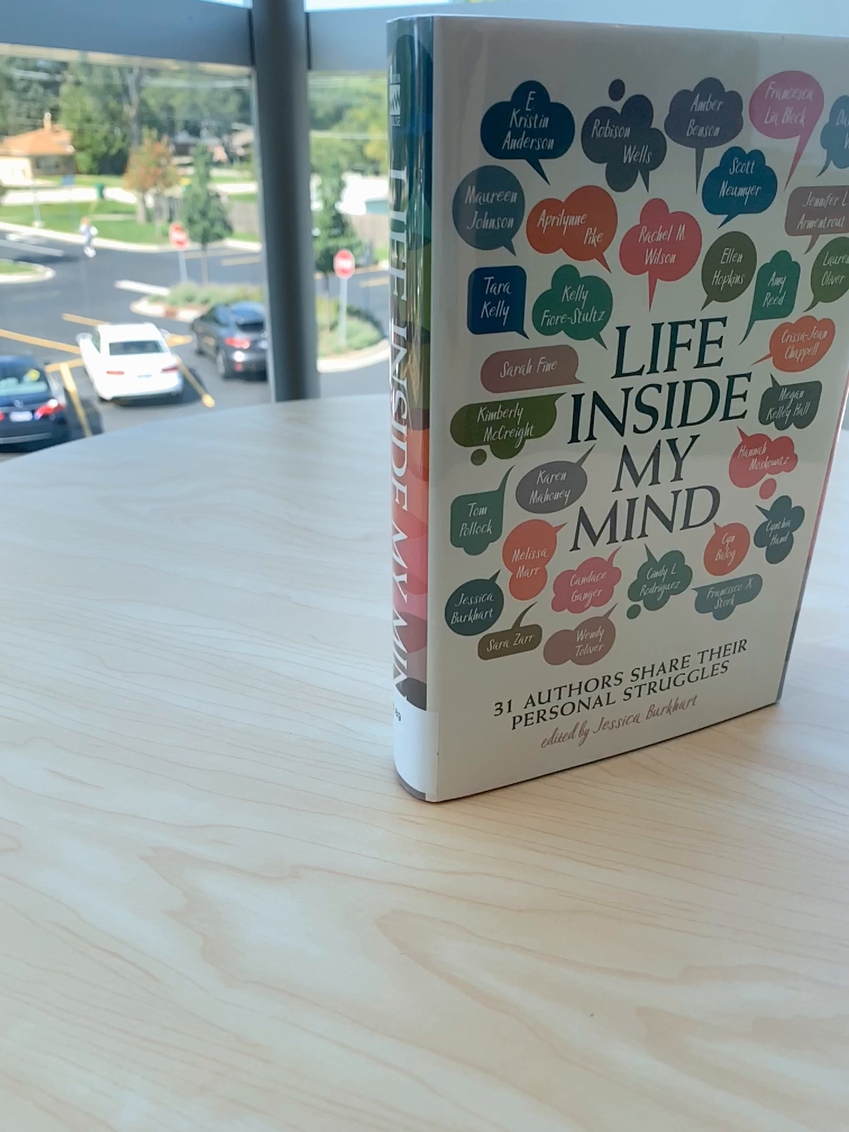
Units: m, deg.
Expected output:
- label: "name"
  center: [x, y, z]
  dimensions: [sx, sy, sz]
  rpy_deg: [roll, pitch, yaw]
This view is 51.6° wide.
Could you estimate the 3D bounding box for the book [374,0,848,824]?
- label: "book"
  center: [0.060, -0.035, 0.265]
  dimensions: [0.150, 0.218, 0.030]
  rpy_deg: [-11, 30, -22]
